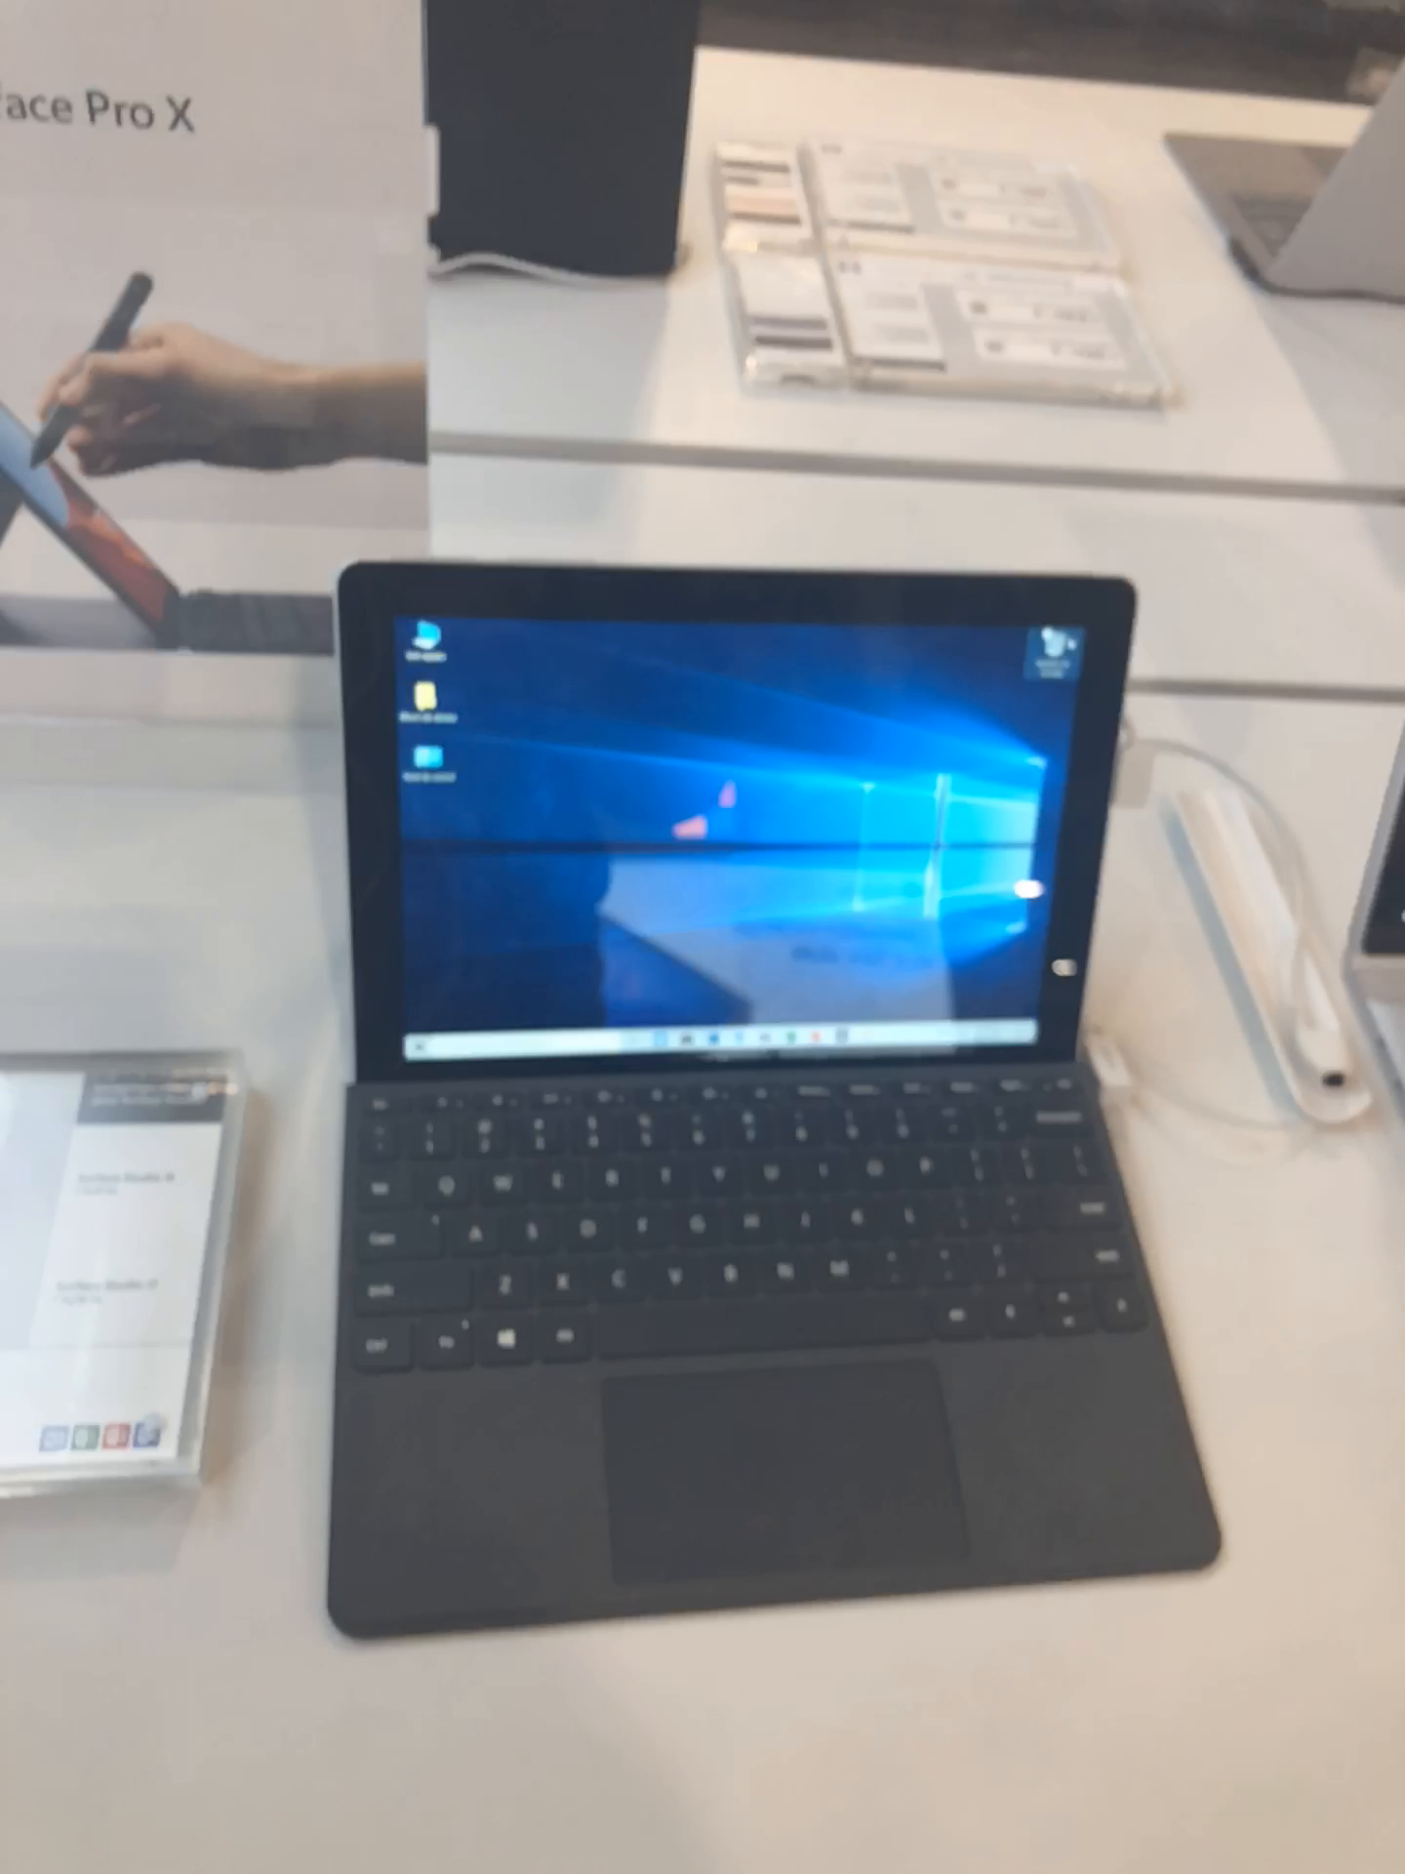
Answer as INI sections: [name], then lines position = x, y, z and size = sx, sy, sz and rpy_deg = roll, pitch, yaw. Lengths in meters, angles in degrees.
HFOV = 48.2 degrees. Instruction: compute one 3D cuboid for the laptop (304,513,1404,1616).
[laptop]
position = 0.017, 0.026, 0.443
size = 0.236, 0.140, 0.251
rpy_deg = -1, 52, -11
